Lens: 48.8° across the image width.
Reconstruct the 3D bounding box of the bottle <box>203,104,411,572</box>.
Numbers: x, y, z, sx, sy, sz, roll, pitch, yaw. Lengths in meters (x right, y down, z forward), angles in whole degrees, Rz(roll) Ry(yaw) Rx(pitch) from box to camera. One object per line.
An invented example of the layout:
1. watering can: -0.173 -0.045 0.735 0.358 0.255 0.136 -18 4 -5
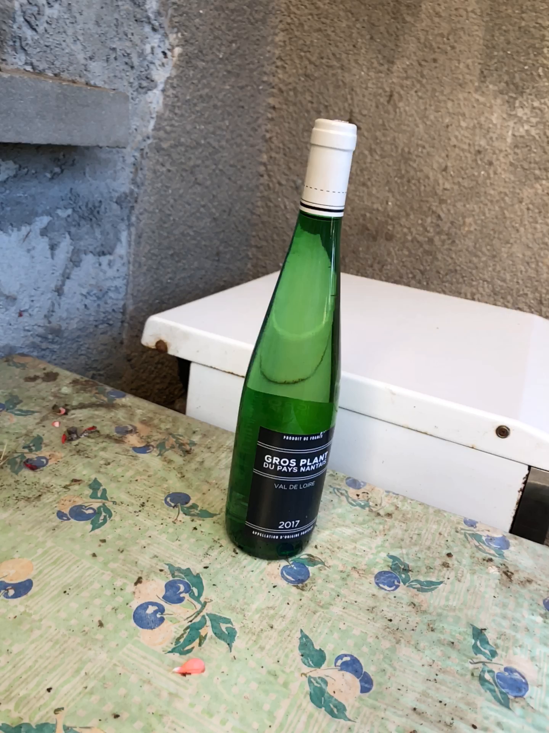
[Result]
1. bottle: 0.011 -0.011 0.462 0.080 0.338 0.080 8 21 -3
